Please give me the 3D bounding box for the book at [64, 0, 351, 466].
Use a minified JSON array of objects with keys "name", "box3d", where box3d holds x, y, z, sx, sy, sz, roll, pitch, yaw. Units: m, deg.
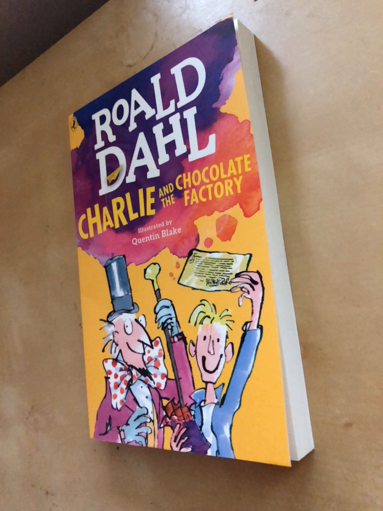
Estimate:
[{"name":"book","box3d":[-0.005,-0.007,0.230,0.135,0.040,0.201,-13,79,36]}]
